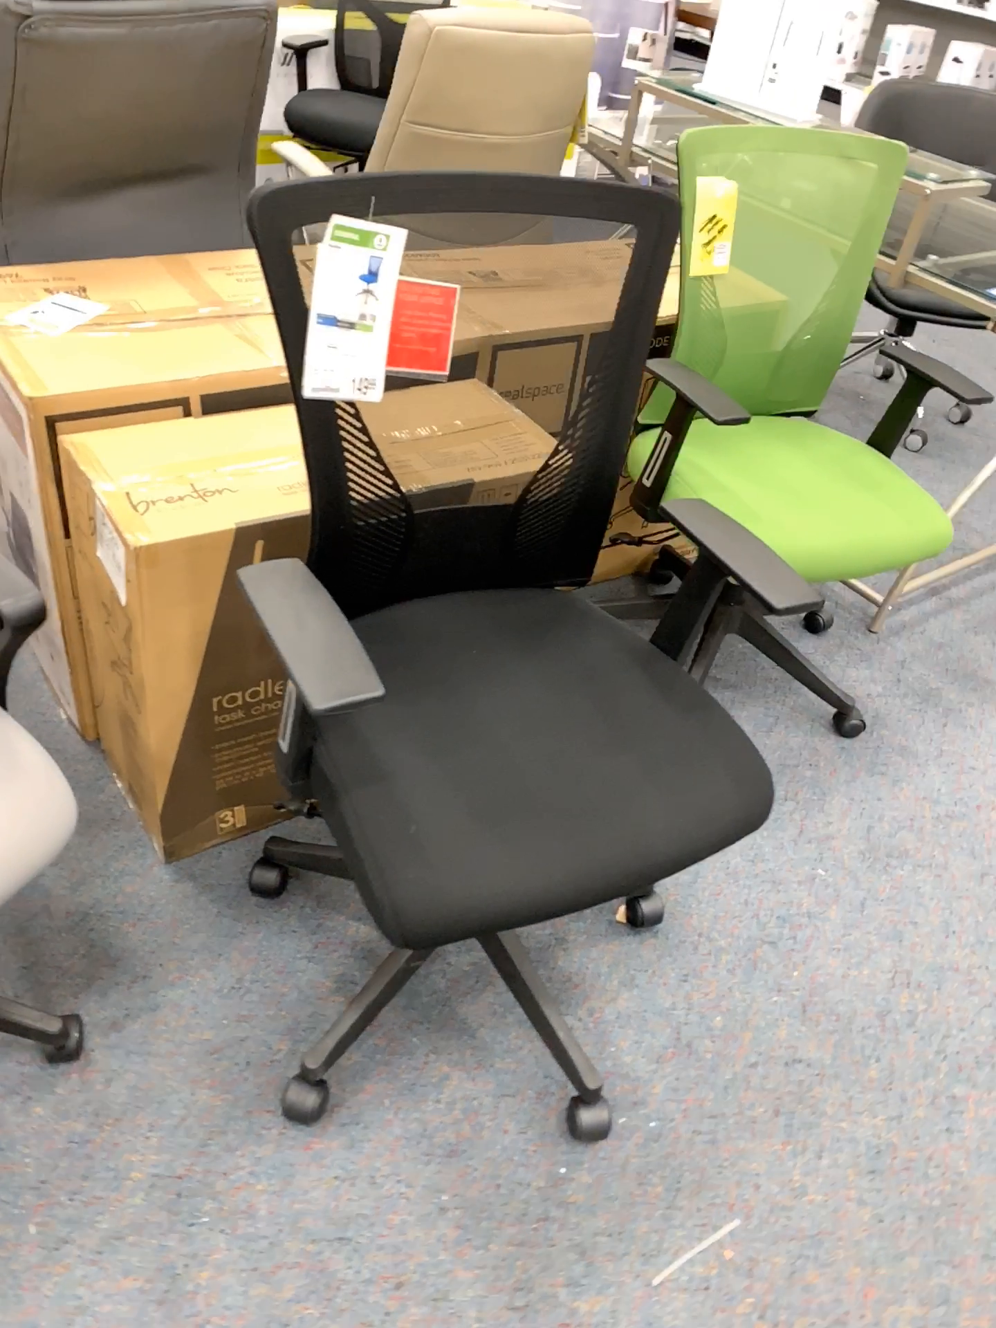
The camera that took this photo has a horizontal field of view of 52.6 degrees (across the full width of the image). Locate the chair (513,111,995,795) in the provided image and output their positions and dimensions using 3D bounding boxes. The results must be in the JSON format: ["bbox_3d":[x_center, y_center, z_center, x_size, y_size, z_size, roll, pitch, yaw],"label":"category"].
[{"bbox_3d":[0.553,-0.410,1.882,0.672,0.934,0.711,-13,44,-25],"label":"chair"}]

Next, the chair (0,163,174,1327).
[{"bbox_3d":[-0.823,0.072,1.041,0.623,0.874,0.680,-27,52,-37],"label":"chair"}]

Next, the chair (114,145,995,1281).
[{"bbox_3d":[0.029,0.029,1.173,0.682,0.974,0.681,-13,44,-25],"label":"chair"}]
